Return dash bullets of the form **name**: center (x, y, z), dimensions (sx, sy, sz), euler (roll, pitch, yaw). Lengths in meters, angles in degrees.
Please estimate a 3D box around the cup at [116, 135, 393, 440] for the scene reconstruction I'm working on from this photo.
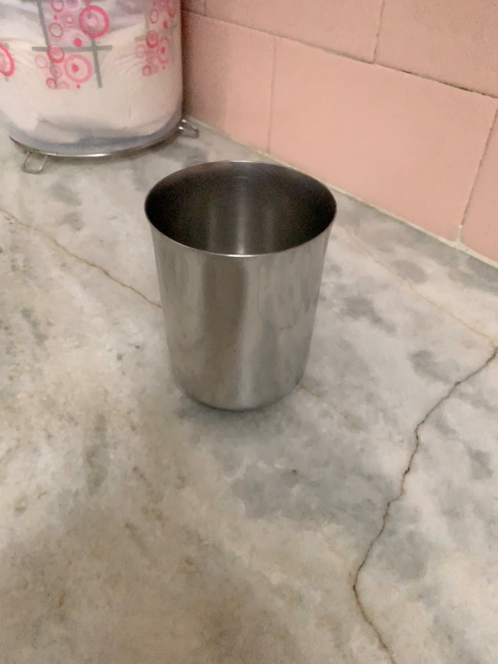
- **cup**: center (-0.002, -0.023, 0.229), dimensions (0.080, 0.090, 0.080), euler (1, 41, -1)
